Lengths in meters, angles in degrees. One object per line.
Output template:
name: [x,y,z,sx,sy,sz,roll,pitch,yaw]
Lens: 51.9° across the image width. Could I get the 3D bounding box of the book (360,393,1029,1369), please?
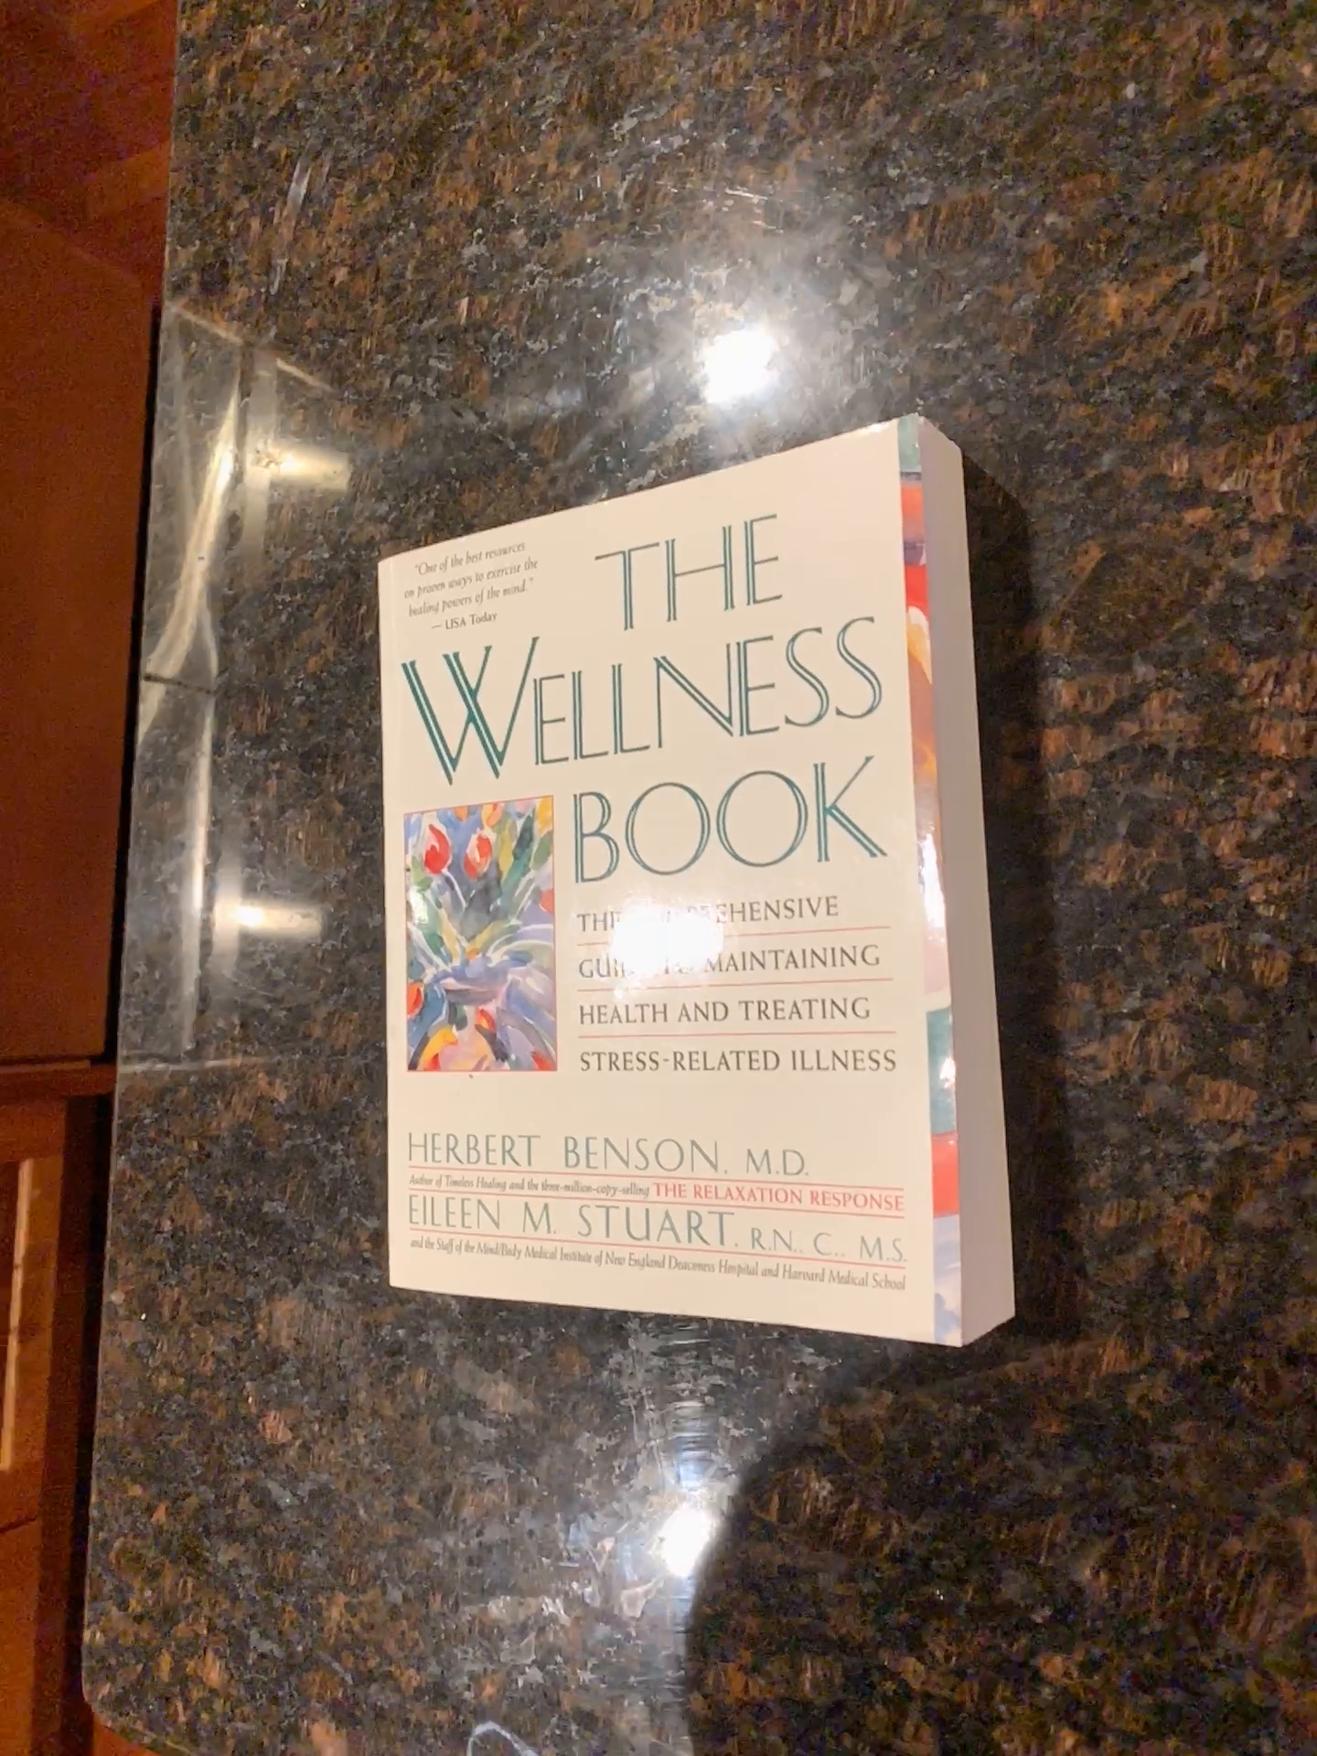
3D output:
book: [0.002,0.006,0.405,0.188,0.060,0.240,-5,83,31]
